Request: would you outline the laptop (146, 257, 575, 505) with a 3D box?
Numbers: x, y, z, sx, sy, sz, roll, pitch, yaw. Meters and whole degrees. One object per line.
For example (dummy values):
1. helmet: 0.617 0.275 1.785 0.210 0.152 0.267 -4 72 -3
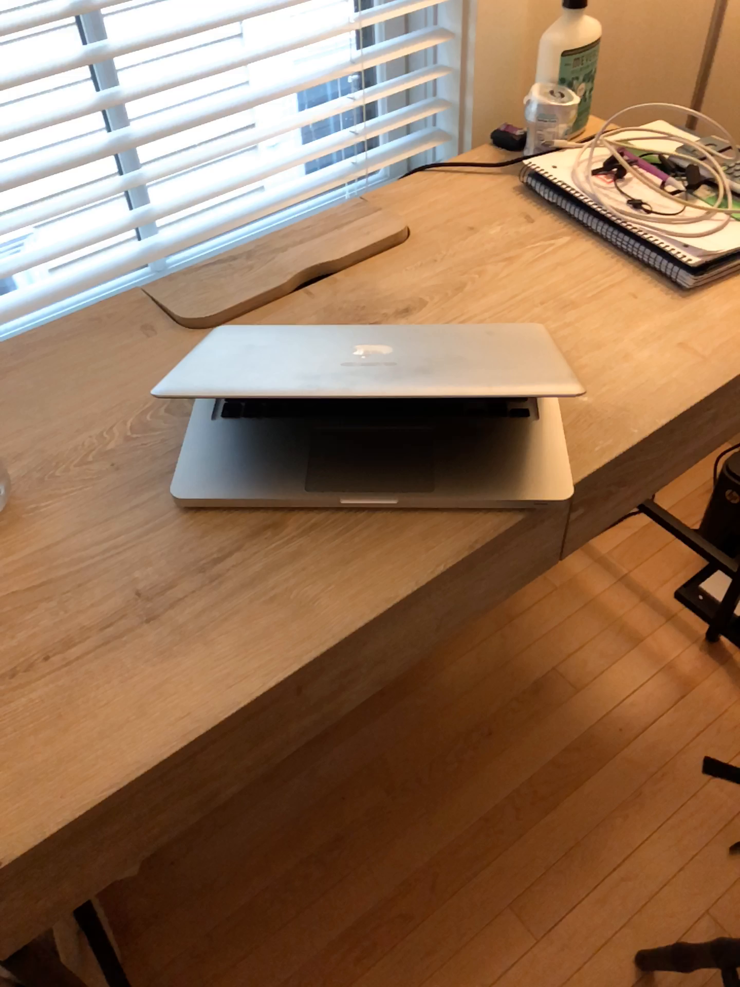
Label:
1. laptop: -0.003 -0.098 0.667 0.299 0.082 0.210 0 48 4
